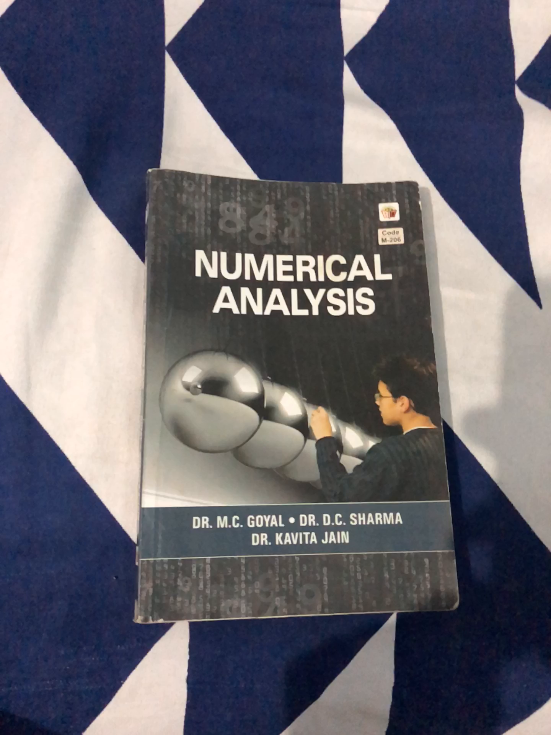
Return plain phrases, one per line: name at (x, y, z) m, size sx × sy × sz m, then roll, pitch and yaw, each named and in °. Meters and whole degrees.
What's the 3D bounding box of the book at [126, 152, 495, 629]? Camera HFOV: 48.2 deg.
book at (0.011, 0.004, 0.265) m, size 0.140 × 0.030 × 0.190 m, roll 0°, pitch 77°, yaw -7°
